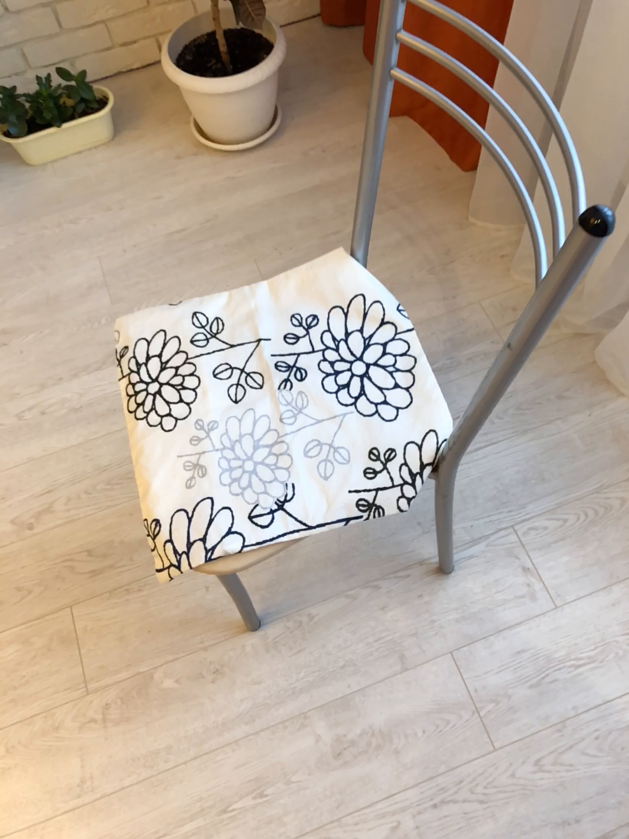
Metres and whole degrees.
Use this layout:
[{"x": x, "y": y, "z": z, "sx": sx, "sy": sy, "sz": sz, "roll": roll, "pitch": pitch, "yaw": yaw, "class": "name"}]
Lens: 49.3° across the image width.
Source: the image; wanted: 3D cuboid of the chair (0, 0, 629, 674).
[{"x": -0.005, "y": -0.025, "z": 0.874, "sx": 0.440, "sy": 0.796, "sz": 0.422, "roll": -20, "pitch": 62, "yaw": -7, "class": "chair"}]
